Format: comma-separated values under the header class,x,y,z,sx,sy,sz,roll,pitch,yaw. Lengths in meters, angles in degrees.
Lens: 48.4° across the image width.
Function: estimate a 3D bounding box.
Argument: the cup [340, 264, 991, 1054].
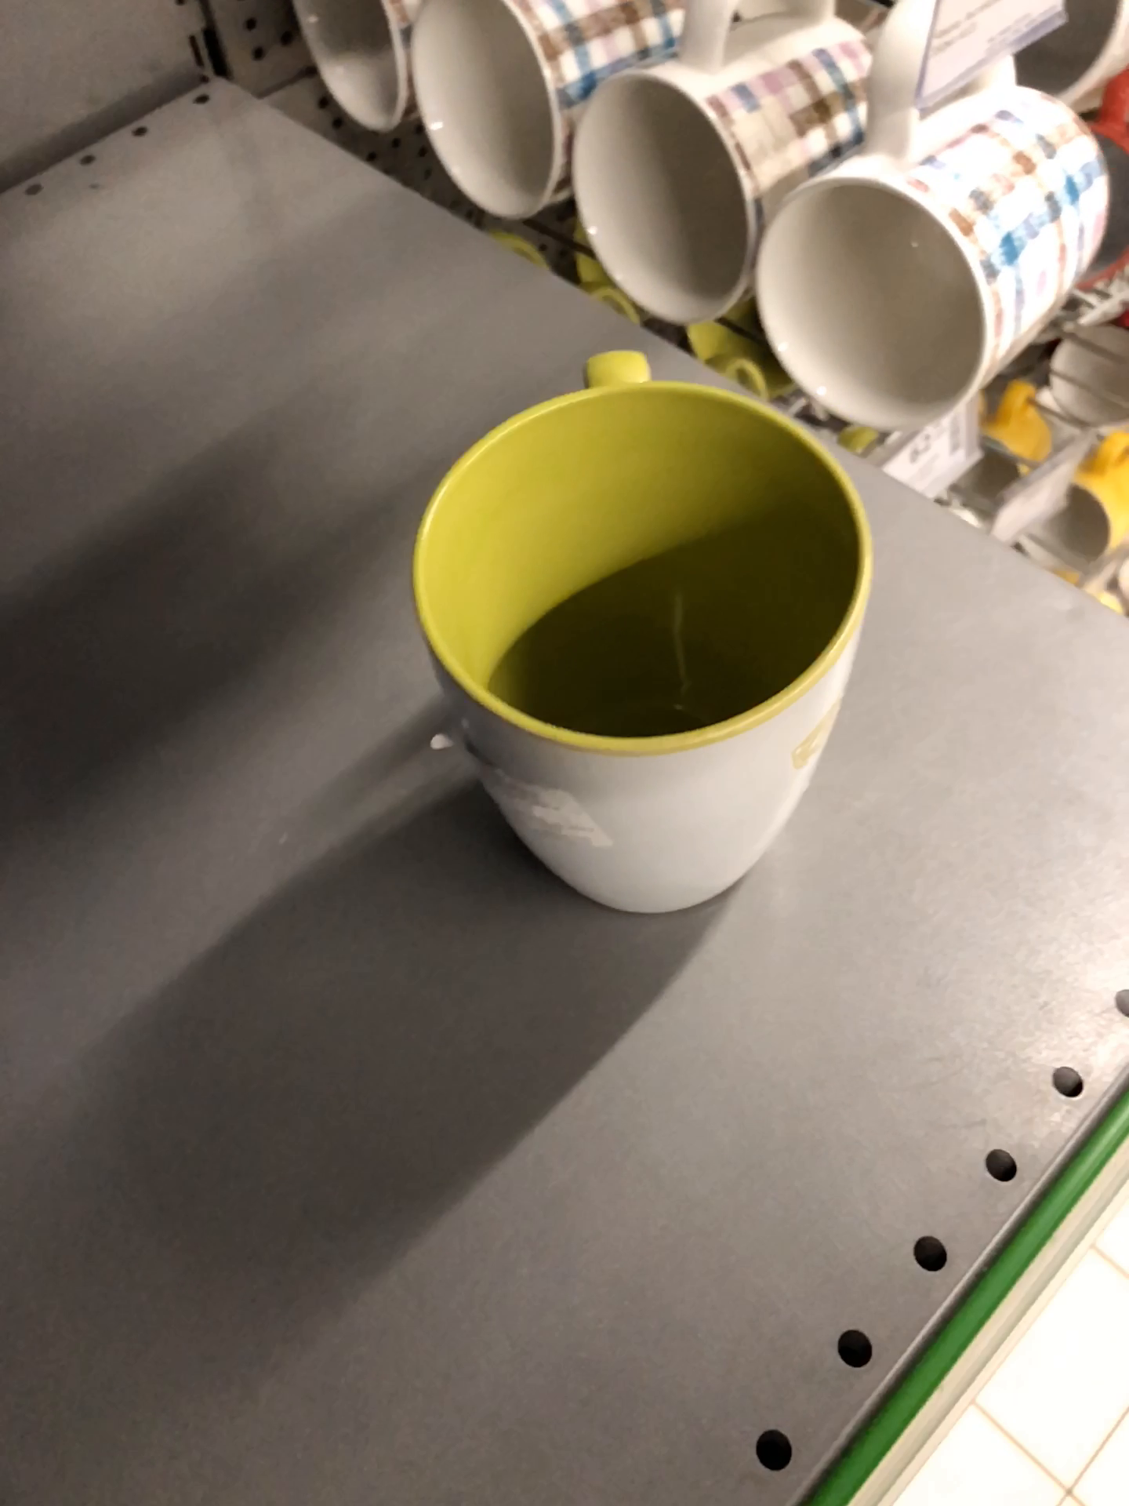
class,x,y,z,sx,sy,sz,roll,pitch,yaw
cup,0.014,-0.019,0.277,0.094,0.095,0.127,-12,58,-3
